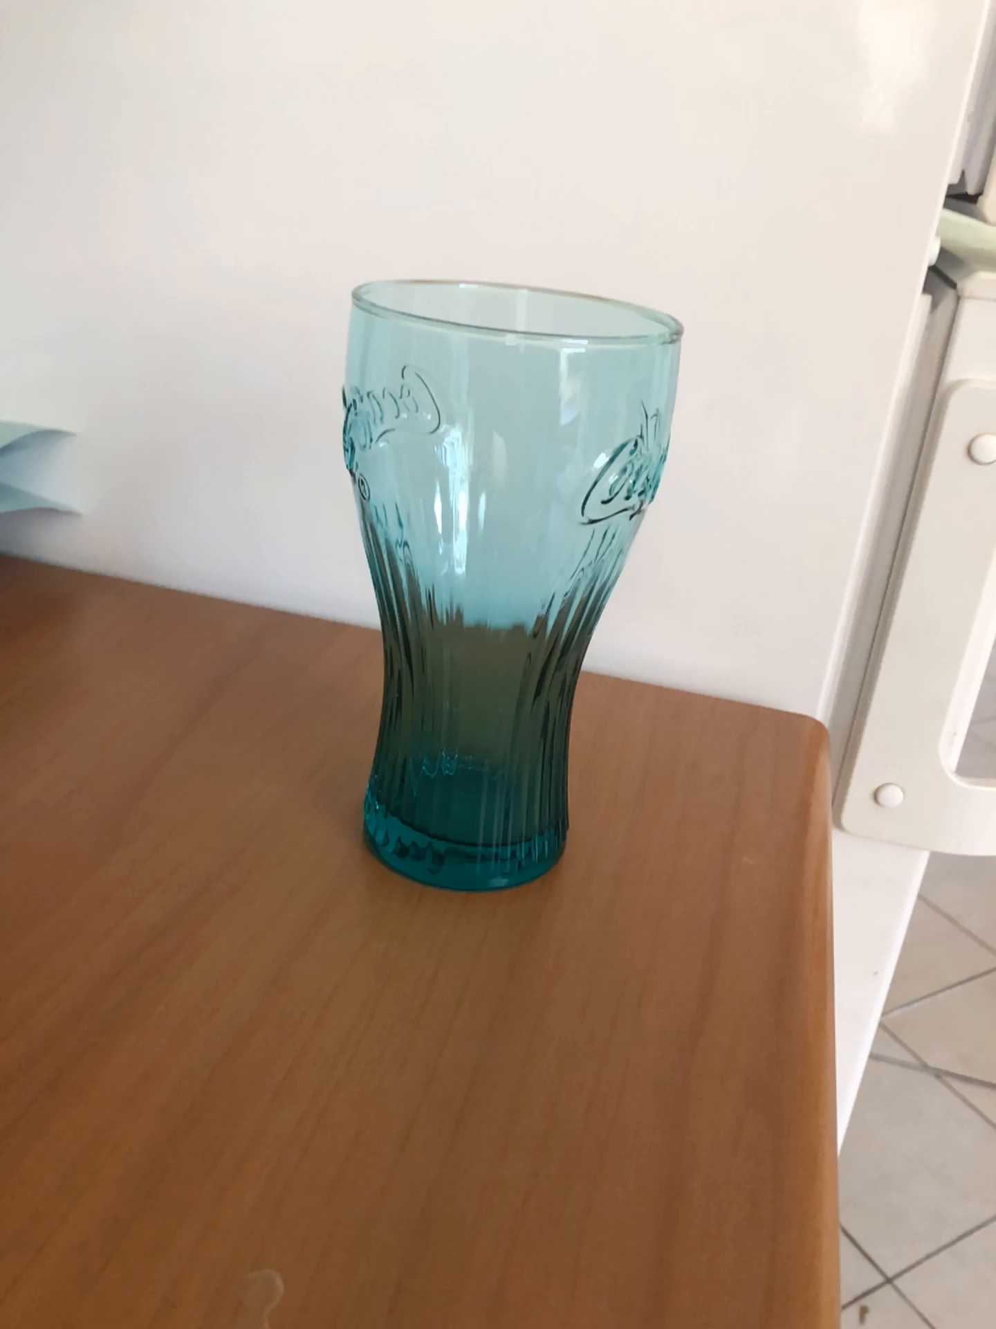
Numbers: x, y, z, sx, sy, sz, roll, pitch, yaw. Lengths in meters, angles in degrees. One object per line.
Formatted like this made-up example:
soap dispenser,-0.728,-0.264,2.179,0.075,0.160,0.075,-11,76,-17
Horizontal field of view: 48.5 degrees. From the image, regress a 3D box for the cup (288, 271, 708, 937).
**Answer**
cup,-0.001,-0.019,0.281,0.080,0.139,0.080,5,24,-2
